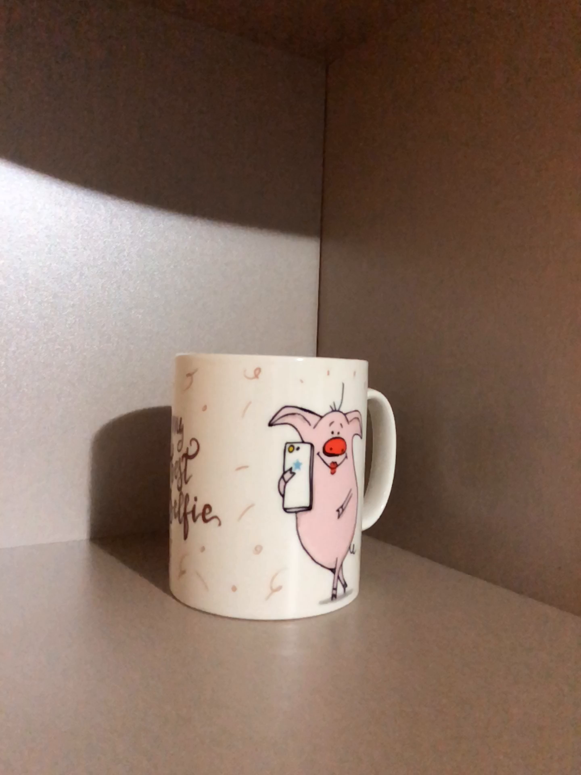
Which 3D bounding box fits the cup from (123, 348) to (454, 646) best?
[{"bbox_3d":[0.004,0.034,0.280,0.086,0.096,0.118,2,1,38],"label":"cup"}]
